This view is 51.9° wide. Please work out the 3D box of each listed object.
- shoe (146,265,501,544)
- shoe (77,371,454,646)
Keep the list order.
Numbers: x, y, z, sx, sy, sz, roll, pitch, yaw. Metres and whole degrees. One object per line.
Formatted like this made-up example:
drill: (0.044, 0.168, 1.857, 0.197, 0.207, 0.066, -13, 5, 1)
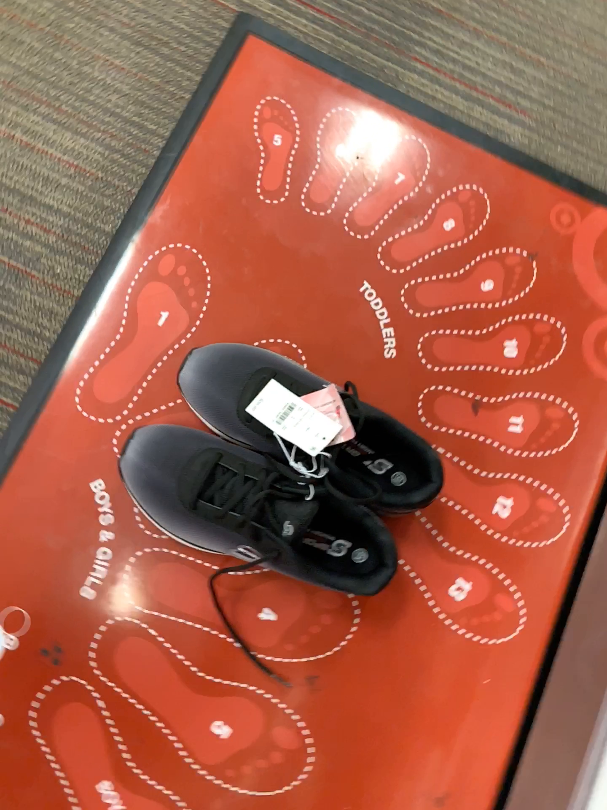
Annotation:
shoe: (0.013, 0.006, 0.528, 0.260, 0.100, 0.100, 30, 78, -1)
shoe: (-0.029, 0.083, 0.509, 0.260, 0.100, 0.100, 26, 78, -2)
